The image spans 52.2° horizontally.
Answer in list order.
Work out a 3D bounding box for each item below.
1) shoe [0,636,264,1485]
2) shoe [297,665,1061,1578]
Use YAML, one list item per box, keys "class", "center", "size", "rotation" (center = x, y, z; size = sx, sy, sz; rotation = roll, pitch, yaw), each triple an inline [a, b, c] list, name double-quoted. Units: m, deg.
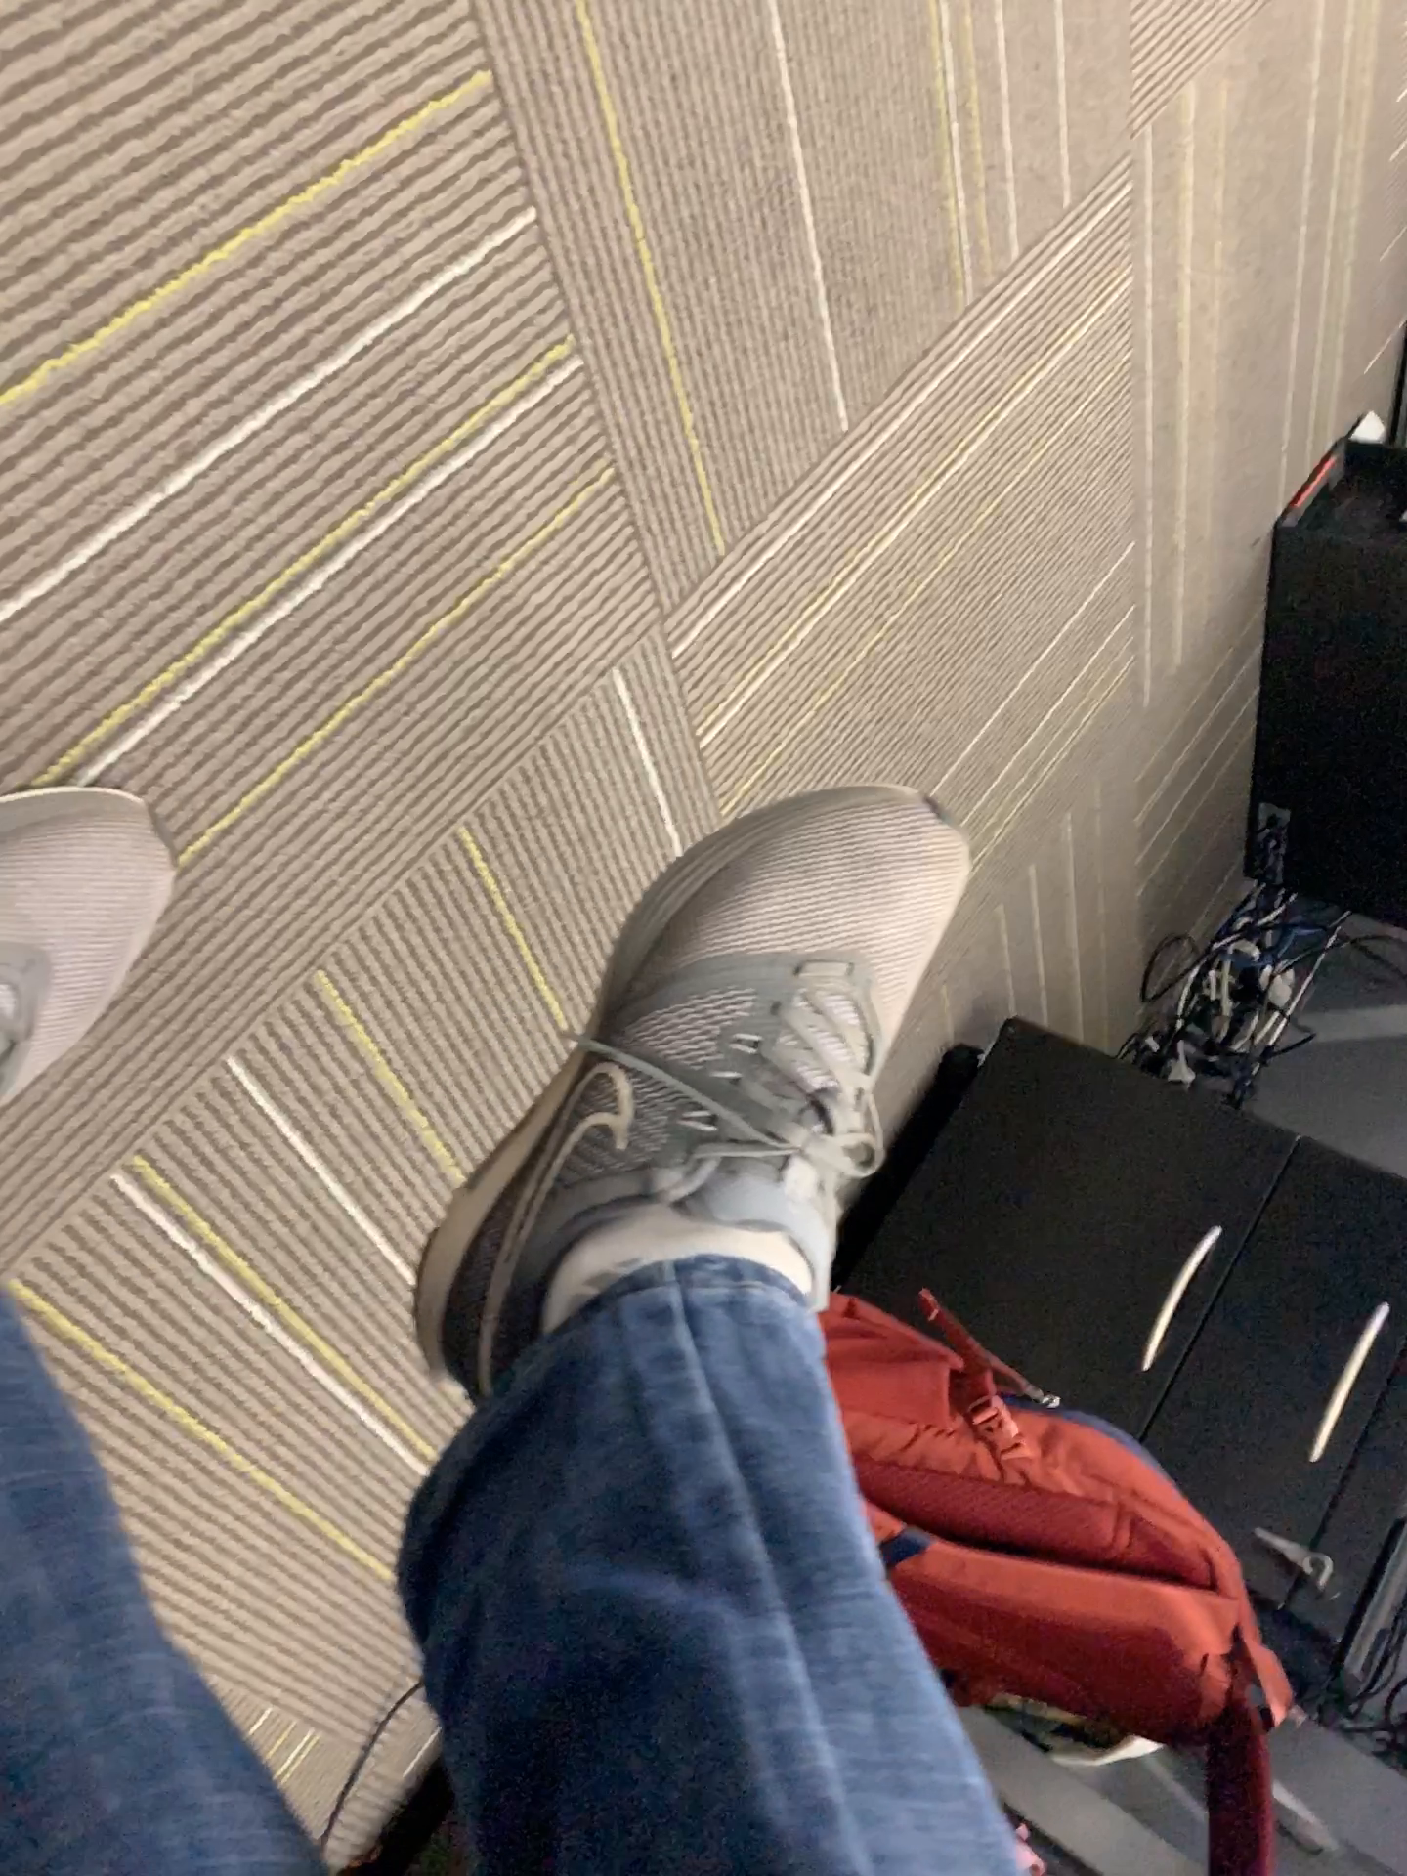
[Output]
- class: "shoe"
  center: [-0.376, 0.023, 0.584]
  size: [0.310, 0.179, 0.124]
  rotation: [-43, 141, -32]
- class: "shoe"
  center: [-0.004, 0.060, 0.553]
  size: [0.127, 0.115, 0.297]
  rotation: [39, 72, -25]
